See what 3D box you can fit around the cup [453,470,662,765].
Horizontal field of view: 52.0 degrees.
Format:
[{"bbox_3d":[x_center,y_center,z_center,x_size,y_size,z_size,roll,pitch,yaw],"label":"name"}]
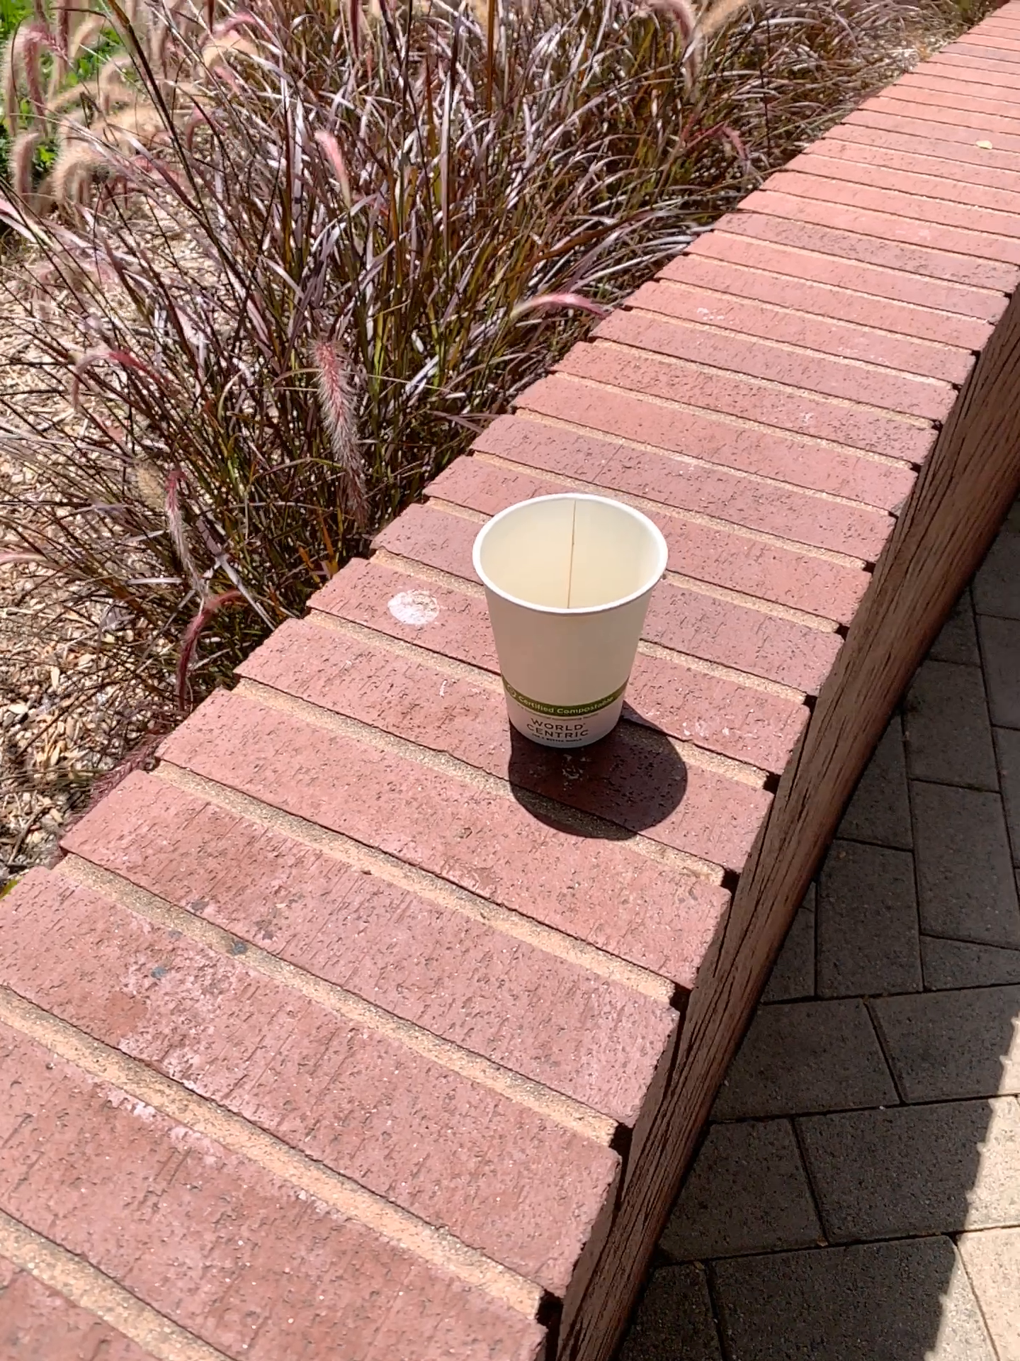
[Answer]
[{"bbox_3d":[0.024,-0.031,0.521,0.090,0.109,0.090,0,44,0],"label":"cup"}]
